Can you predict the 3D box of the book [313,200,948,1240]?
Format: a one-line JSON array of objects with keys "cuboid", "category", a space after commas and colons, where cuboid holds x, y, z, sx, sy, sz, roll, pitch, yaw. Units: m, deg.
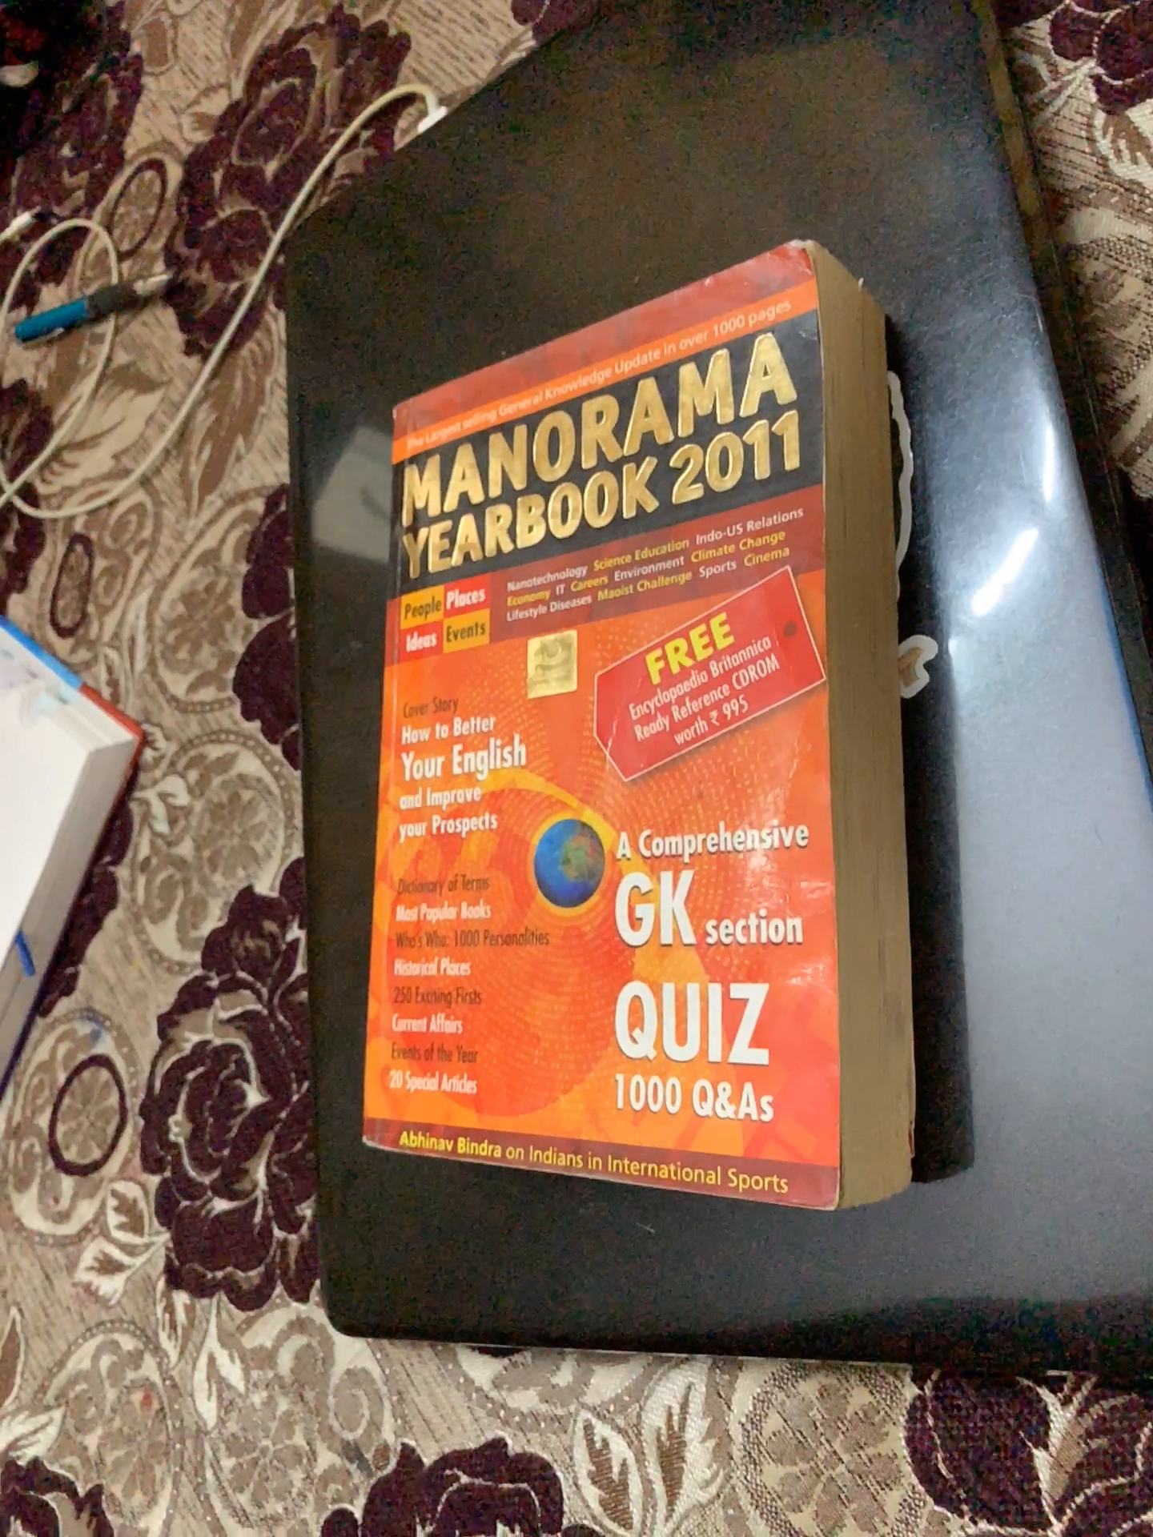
[{"cuboid": [0.010, -0.008, 0.295, 0.141, 0.050, 0.210, -7, 76, 35], "category": "book"}]
